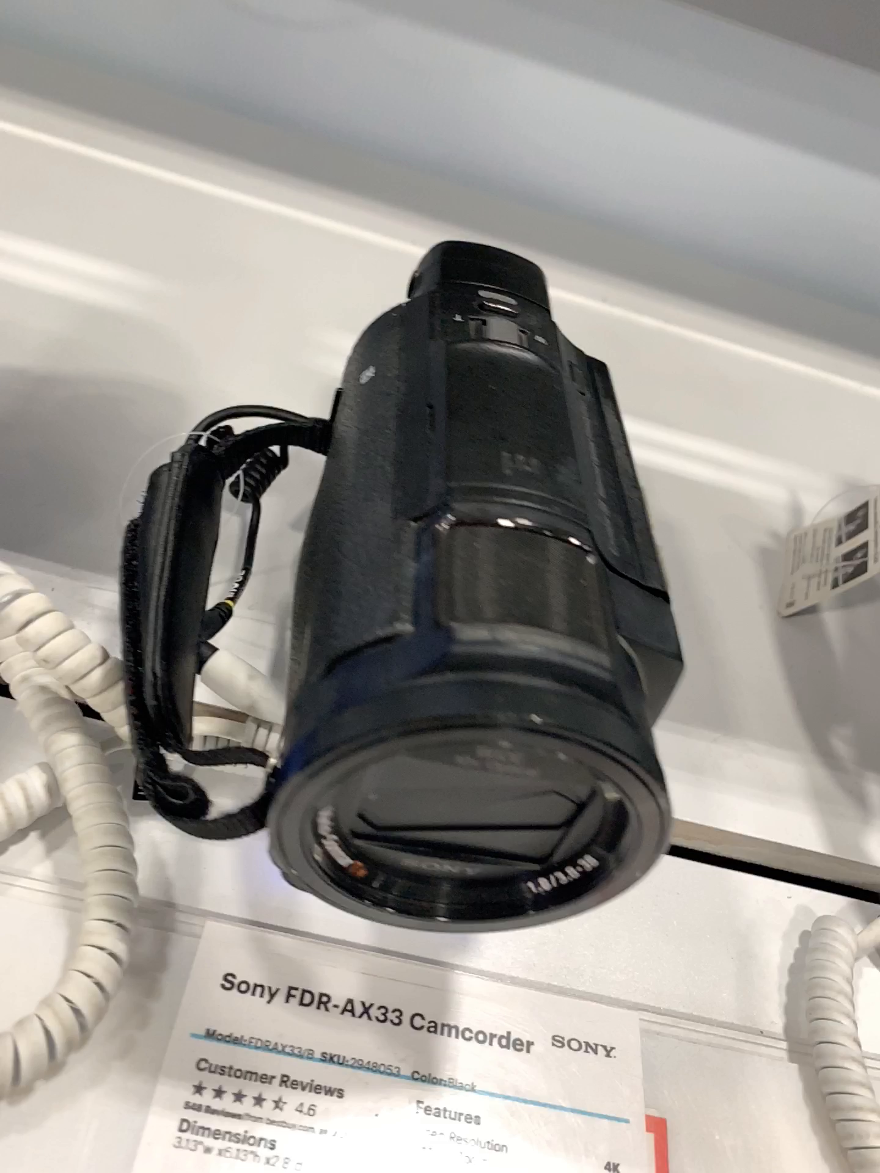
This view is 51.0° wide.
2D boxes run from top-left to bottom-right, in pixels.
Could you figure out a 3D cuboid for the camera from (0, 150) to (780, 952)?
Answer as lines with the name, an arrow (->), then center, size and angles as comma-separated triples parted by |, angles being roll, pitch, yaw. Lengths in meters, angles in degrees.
camera -> -0.011, -0.014, 0.185 | 0.102, 0.067, 0.136 | 12, 44, -10
